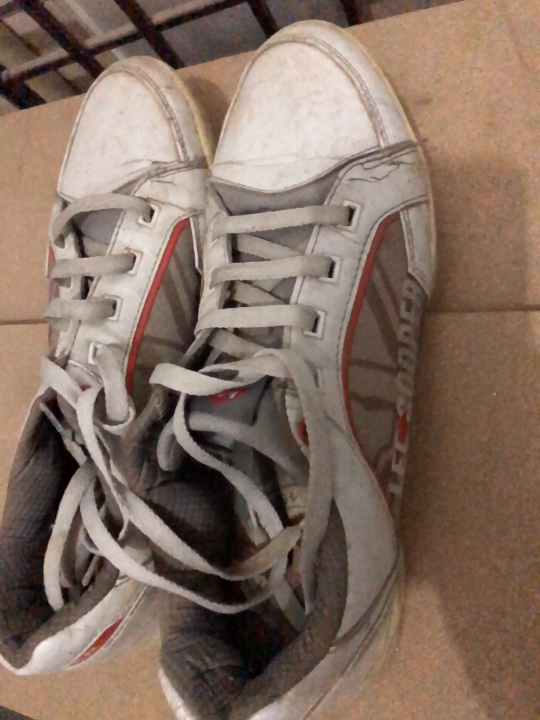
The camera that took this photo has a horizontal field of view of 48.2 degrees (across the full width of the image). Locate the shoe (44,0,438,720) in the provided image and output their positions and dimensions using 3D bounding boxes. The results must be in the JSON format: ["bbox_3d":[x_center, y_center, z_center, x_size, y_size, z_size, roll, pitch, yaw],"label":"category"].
[{"bbox_3d":[0.003,-0.009,0.225,0.100,0.080,0.270,0,78,22],"label":"shoe"}]

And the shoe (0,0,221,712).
[{"bbox_3d":[-0.096,-0.016,0.266,0.100,0.080,0.270,0,78,22],"label":"shoe"}]
